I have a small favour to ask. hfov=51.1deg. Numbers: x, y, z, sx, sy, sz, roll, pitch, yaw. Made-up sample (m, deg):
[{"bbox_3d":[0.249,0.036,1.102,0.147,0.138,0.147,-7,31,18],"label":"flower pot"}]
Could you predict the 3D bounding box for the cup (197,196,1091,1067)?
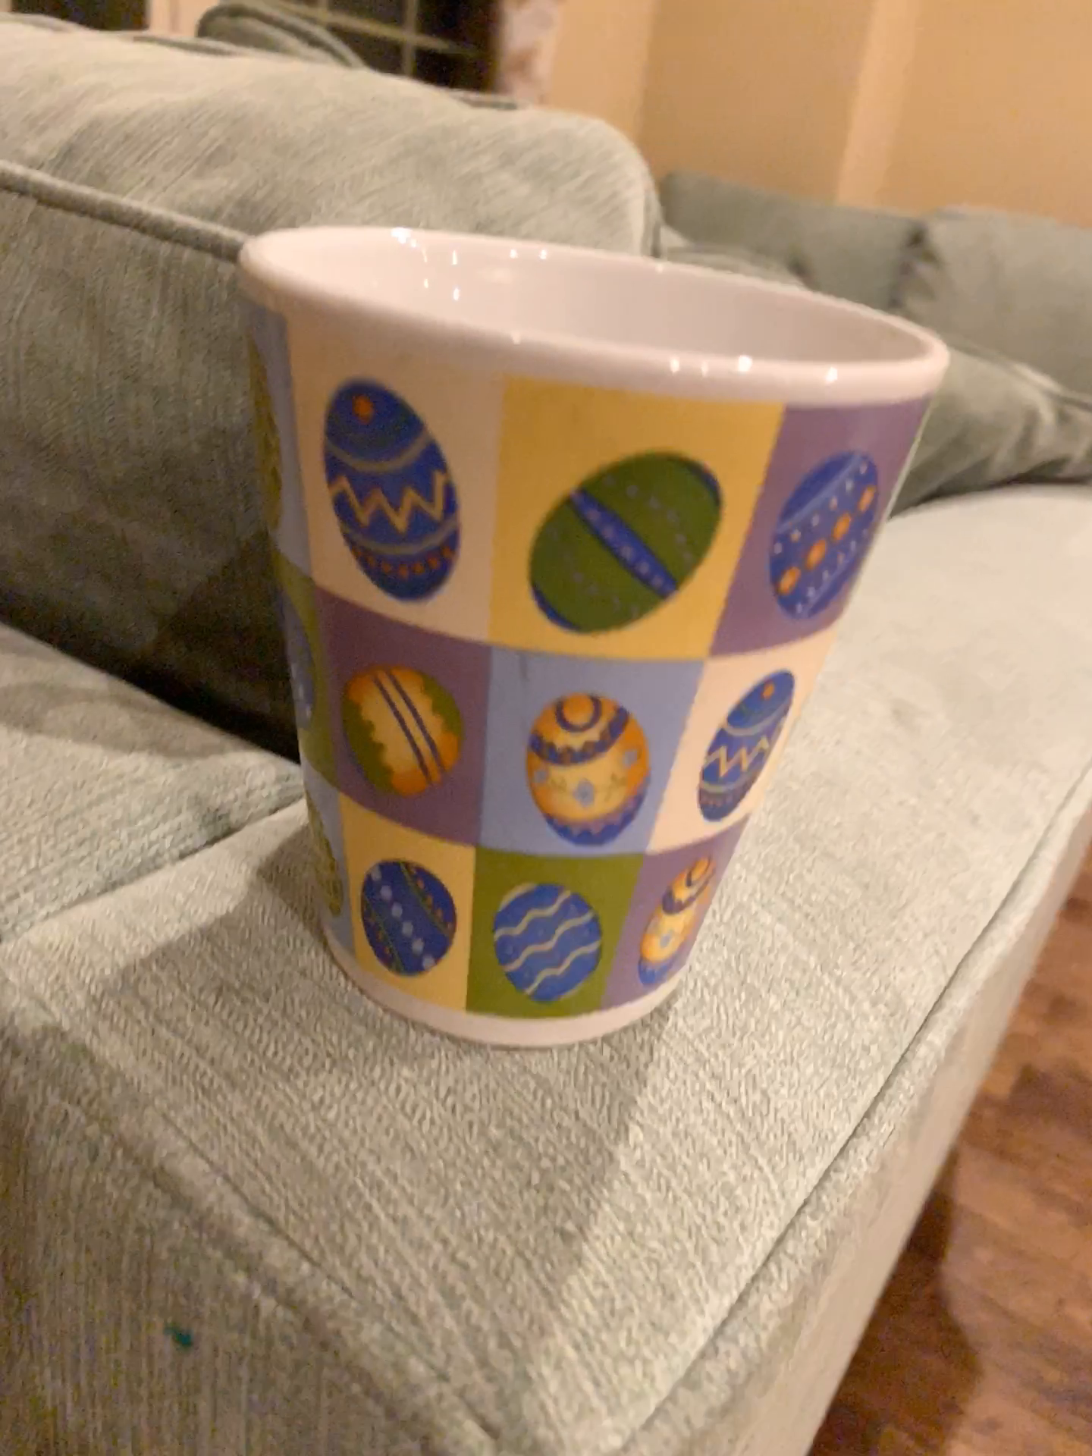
[{"bbox_3d":[0.000,-0.026,0.181,0.095,0.087,0.123,2,28,-13],"label":"cup"}]
